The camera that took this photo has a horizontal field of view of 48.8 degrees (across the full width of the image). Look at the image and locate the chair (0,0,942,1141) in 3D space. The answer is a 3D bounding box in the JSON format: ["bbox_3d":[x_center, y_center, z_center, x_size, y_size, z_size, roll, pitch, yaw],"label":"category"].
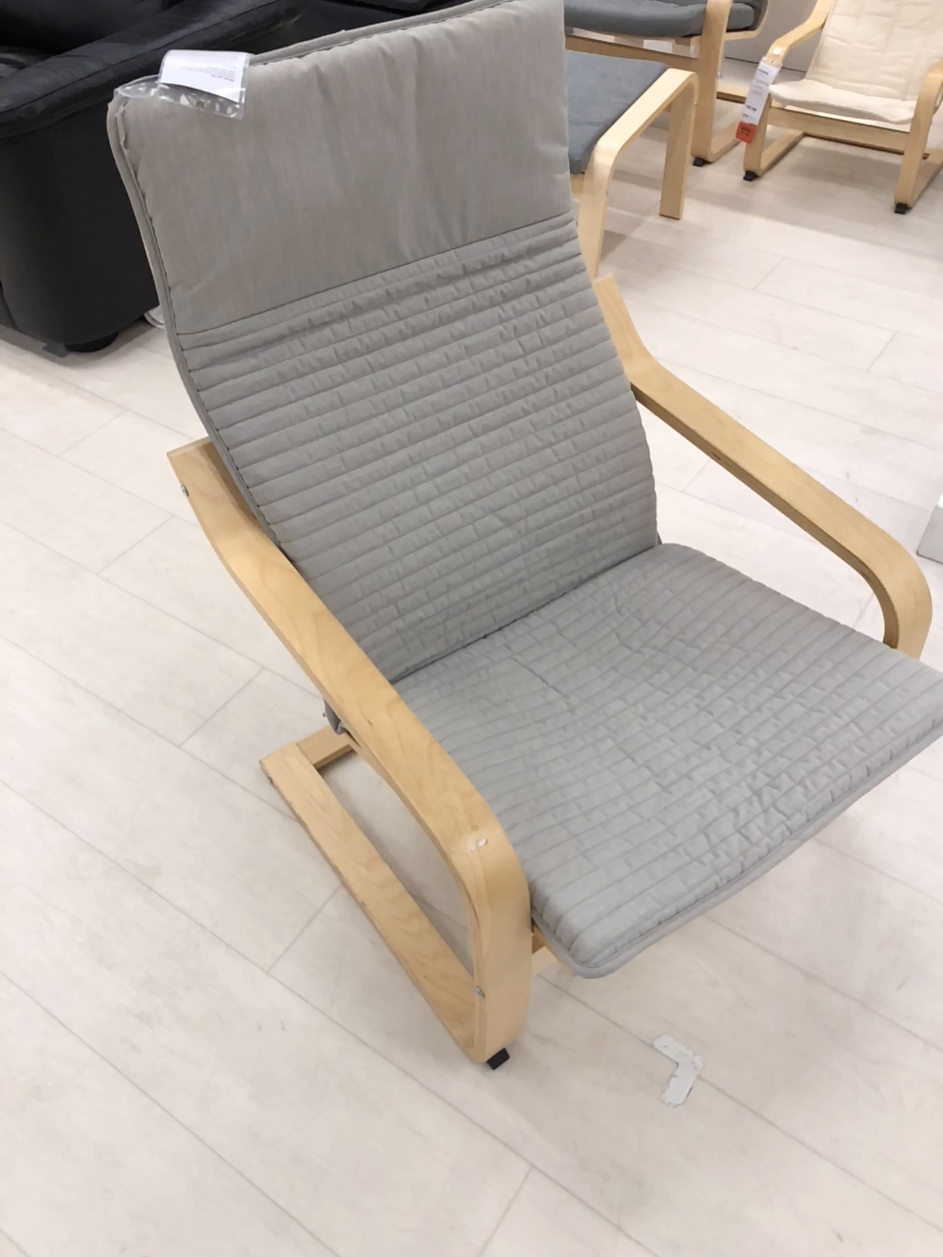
[{"bbox_3d":[0.114,-0.127,1.153,0.731,0.996,0.702,-27,51,-22],"label":"chair"}]
